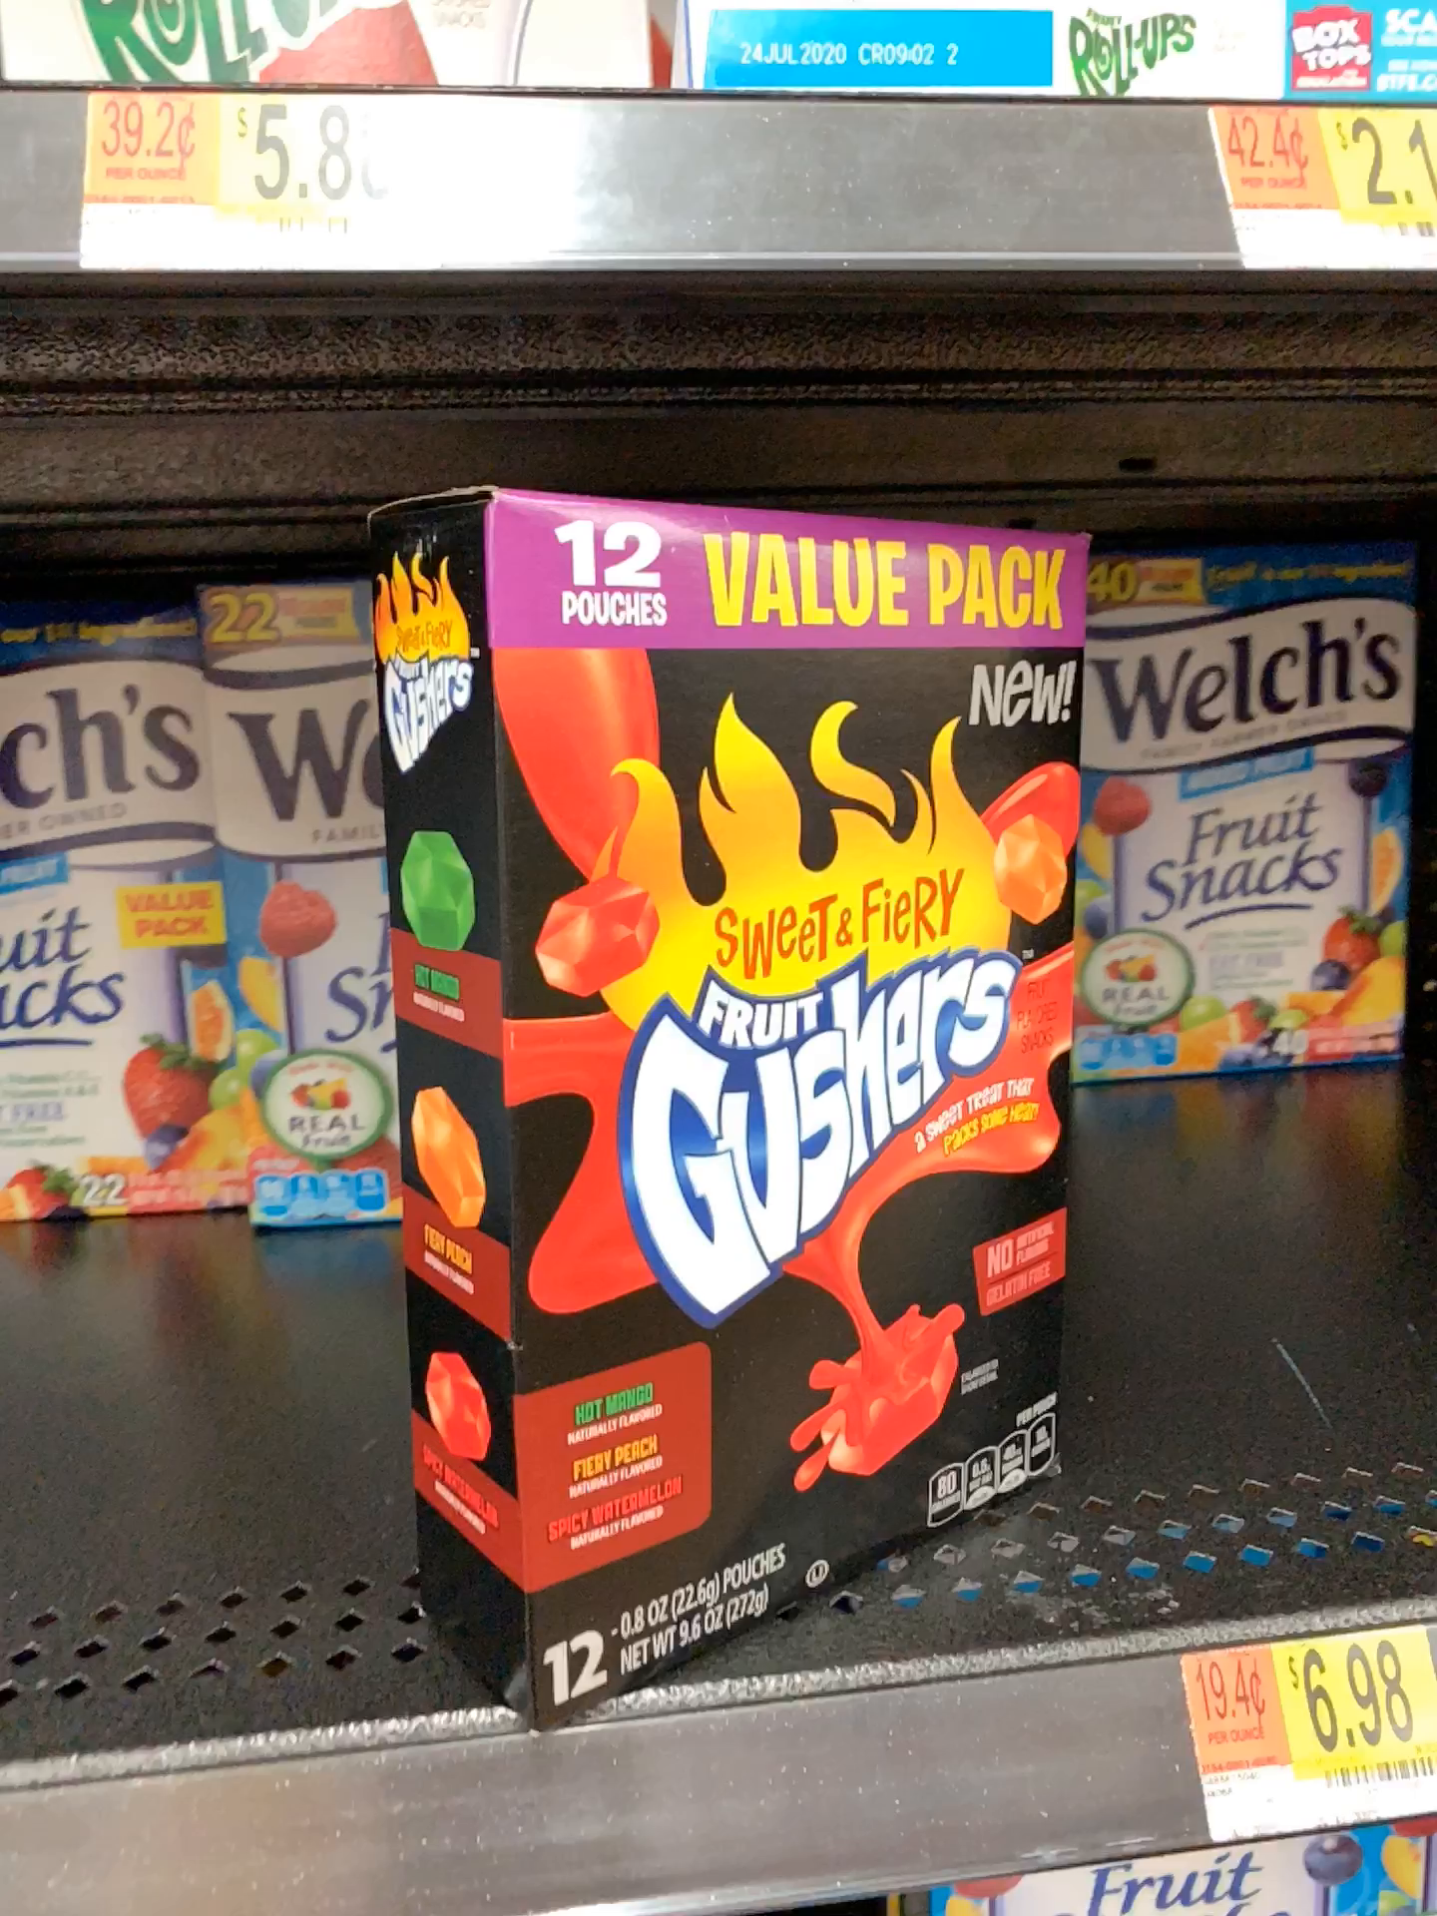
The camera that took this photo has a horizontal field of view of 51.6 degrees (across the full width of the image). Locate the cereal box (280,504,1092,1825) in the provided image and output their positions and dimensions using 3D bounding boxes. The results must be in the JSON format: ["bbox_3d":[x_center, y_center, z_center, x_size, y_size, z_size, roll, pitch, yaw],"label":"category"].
[{"bbox_3d":[0.001,0.028,0.299,0.150,0.219,0.050,-9,15,-36],"label":"cereal box"}]
